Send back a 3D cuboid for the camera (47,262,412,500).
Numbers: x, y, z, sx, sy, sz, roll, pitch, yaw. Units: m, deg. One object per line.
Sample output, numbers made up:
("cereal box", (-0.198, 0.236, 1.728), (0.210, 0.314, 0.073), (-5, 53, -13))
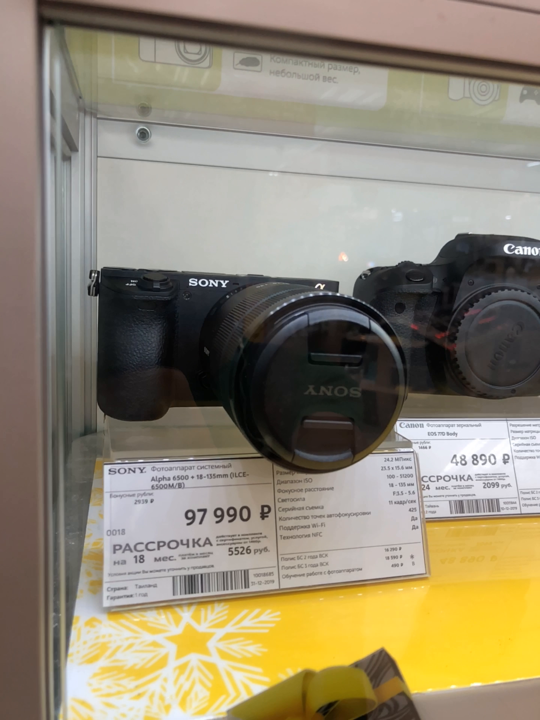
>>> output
("camera", (-0.024, 0.000, 0.278), (0.130, 0.080, 0.123), (1, 10, -11))
